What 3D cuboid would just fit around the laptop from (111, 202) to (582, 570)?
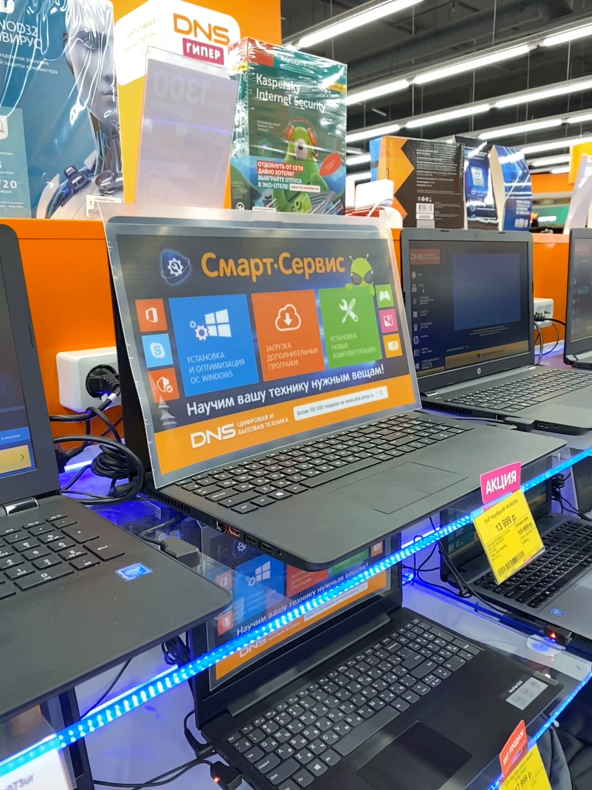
[{"bbox_3d":[0.061,-0.051,0.600,0.377,0.235,0.262,-12,16,-41],"label":"laptop"}]
